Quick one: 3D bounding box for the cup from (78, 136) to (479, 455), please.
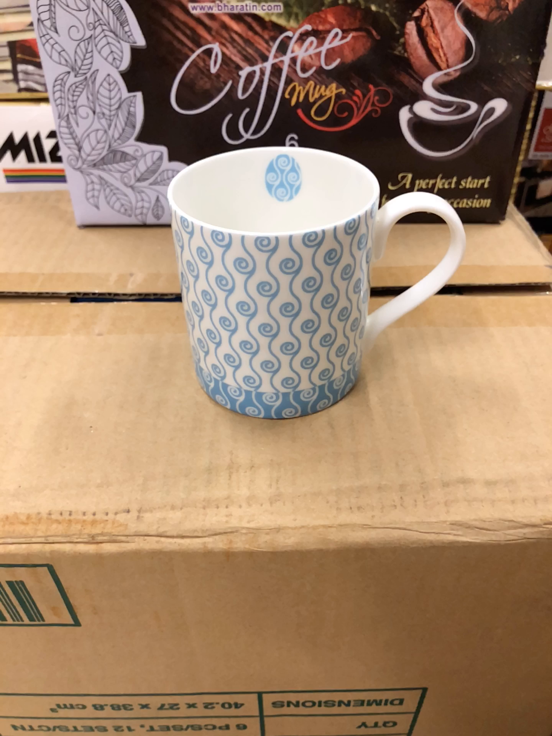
[{"bbox_3d":[0.001,-0.026,0.225,0.110,0.089,0.070,-1,41,-1],"label":"cup"}]
